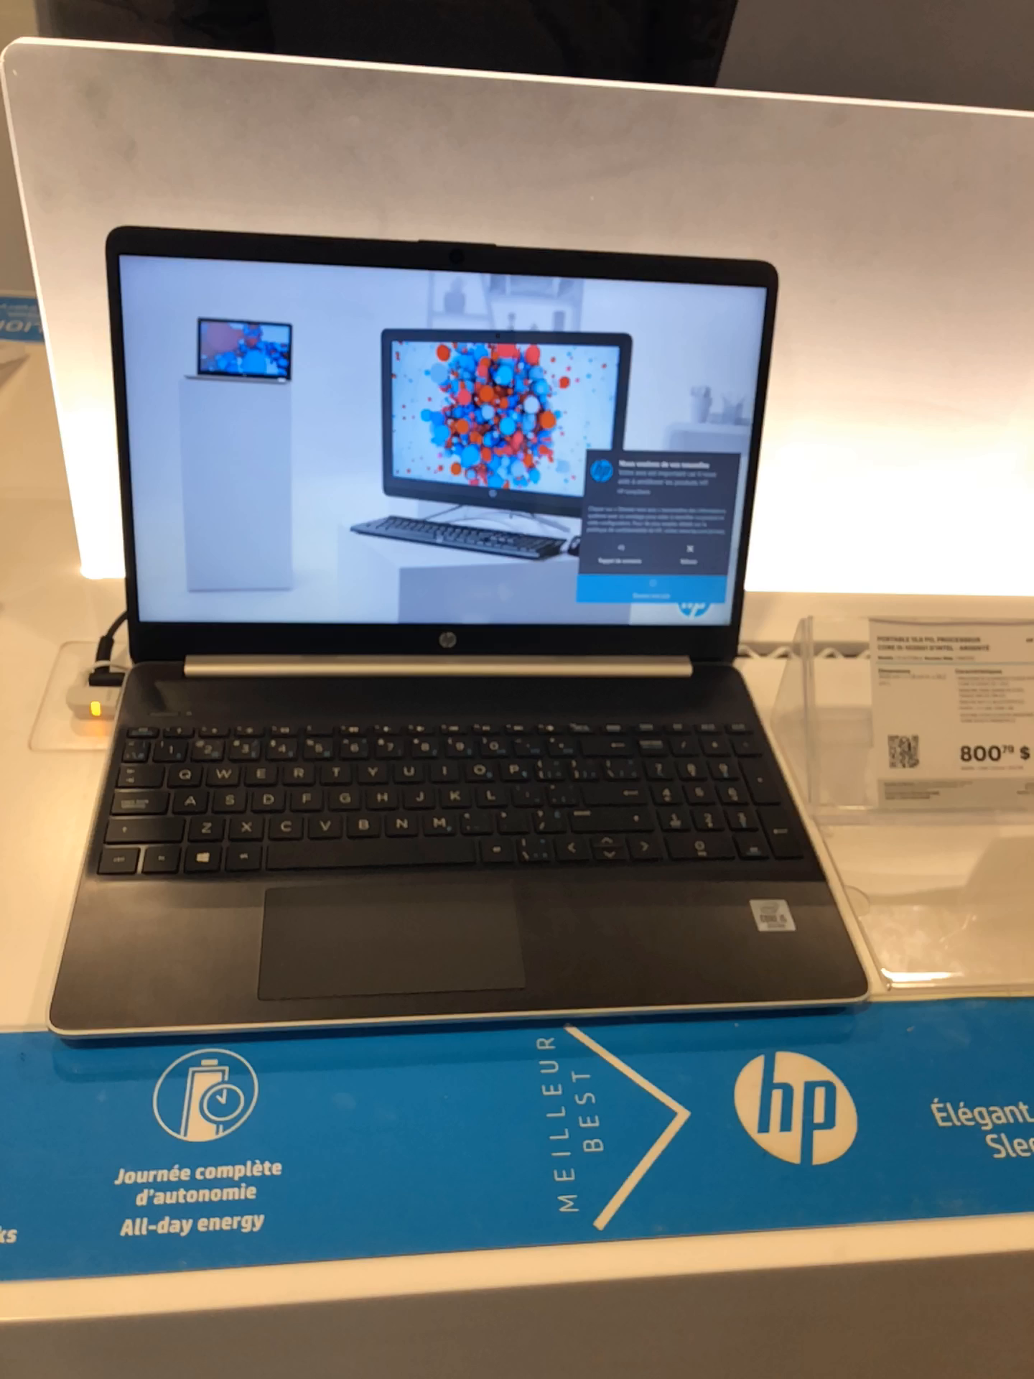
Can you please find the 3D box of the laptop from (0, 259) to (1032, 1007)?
[{"bbox_3d":[-0.026,-0.045,0.542,0.336,0.206,0.317,1,37,-7],"label":"laptop"}]
